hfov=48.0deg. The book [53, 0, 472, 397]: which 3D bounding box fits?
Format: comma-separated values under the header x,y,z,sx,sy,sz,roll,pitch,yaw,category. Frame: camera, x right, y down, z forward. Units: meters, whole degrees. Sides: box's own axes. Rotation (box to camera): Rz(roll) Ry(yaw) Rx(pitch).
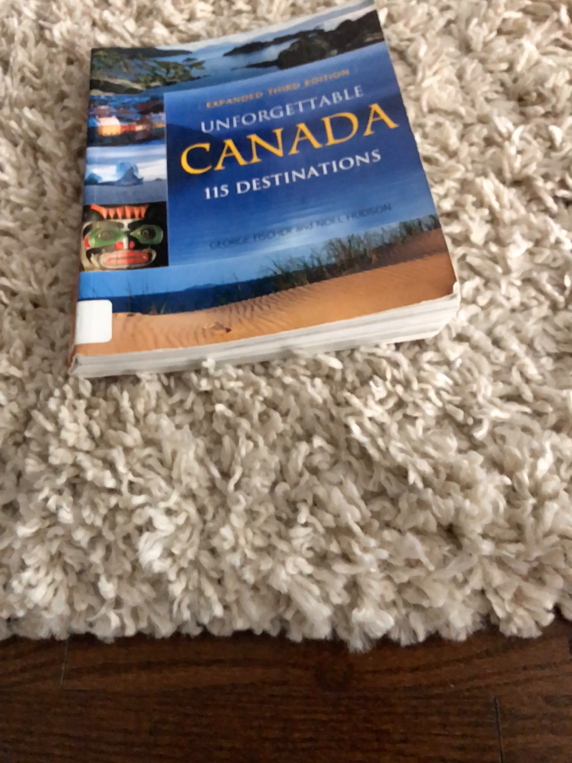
x,y,z,sx,sy,sz,roll,pitch,yaw,category
-0.022,-0.119,0.373,0.200,0.040,0.235,-9,62,5,book
